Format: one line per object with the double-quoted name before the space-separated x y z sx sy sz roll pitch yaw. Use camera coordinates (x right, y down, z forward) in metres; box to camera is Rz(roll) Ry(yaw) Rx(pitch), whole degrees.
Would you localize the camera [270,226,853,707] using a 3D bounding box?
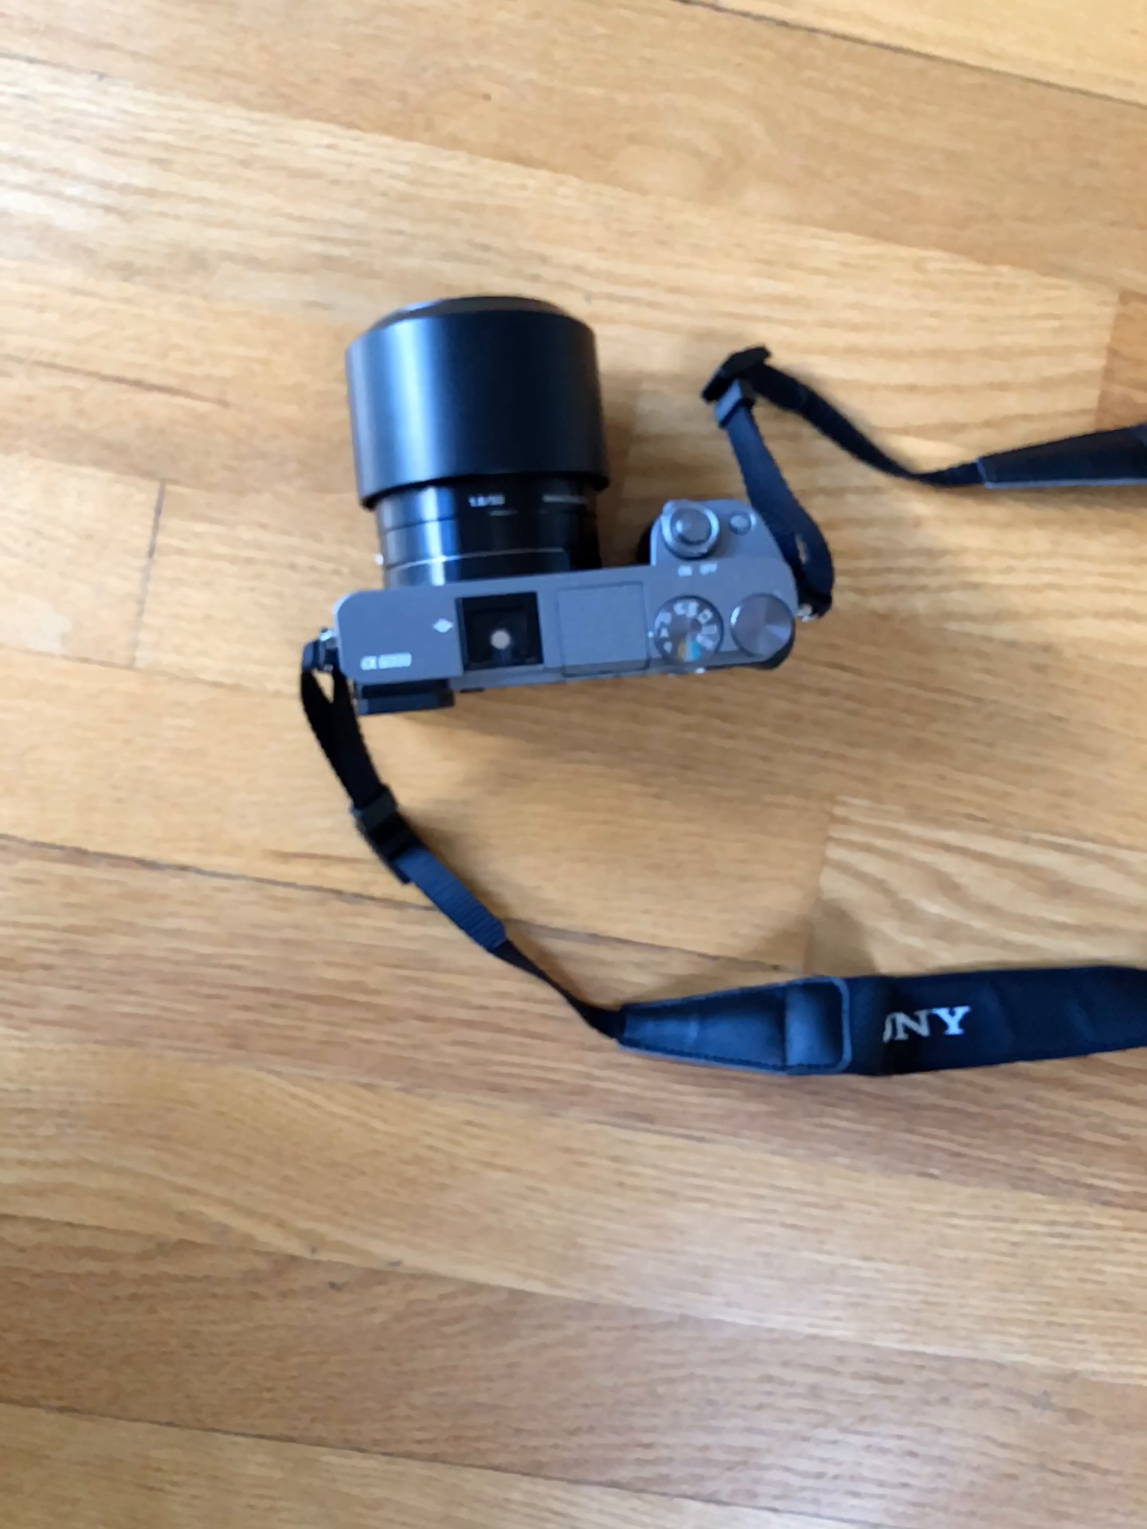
"camera" -0.004 -0.077 0.361 0.136 0.079 0.106 -7 94 -4
